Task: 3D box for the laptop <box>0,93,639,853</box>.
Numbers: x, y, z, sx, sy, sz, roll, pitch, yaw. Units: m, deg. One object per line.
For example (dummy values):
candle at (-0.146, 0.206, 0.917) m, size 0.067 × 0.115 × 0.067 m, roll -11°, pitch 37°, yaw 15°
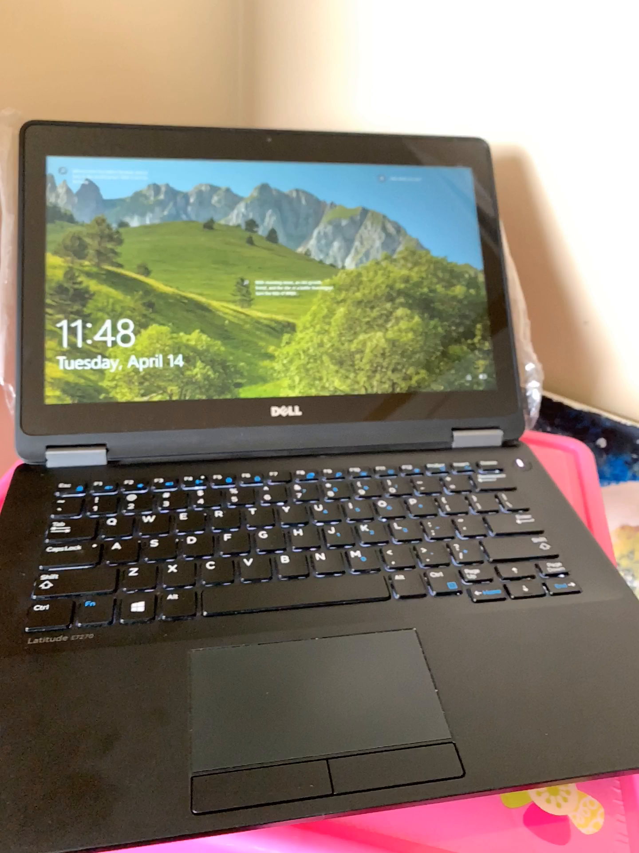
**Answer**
laptop at (-0.007, -0.030, 0.287) m, size 0.261 × 0.121 × 0.303 m, roll -2°, pitch 39°, yaw -11°
